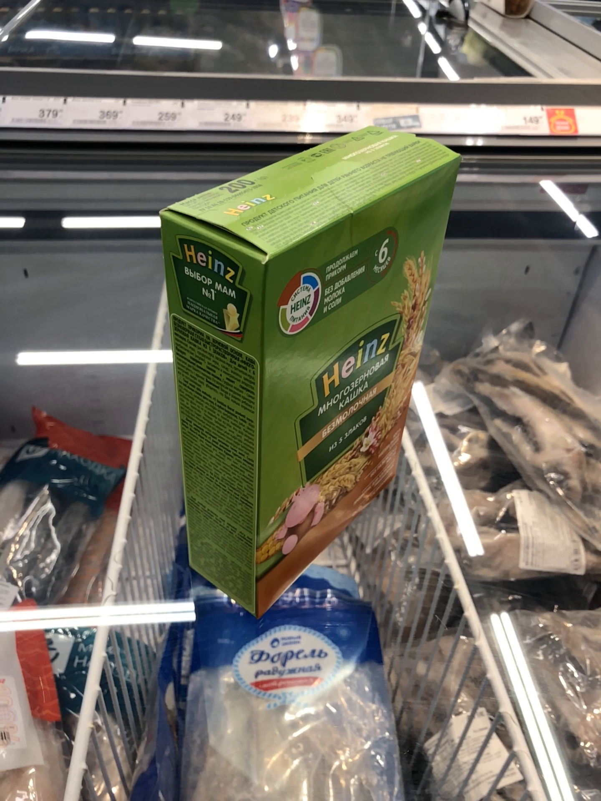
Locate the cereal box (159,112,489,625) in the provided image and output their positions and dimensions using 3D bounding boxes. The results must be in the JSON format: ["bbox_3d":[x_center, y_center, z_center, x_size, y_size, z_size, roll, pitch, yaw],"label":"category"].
[{"bbox_3d":[0.012,-0.012,0.315,0.050,0.199,0.141,29,46,27],"label":"cereal box"}]
